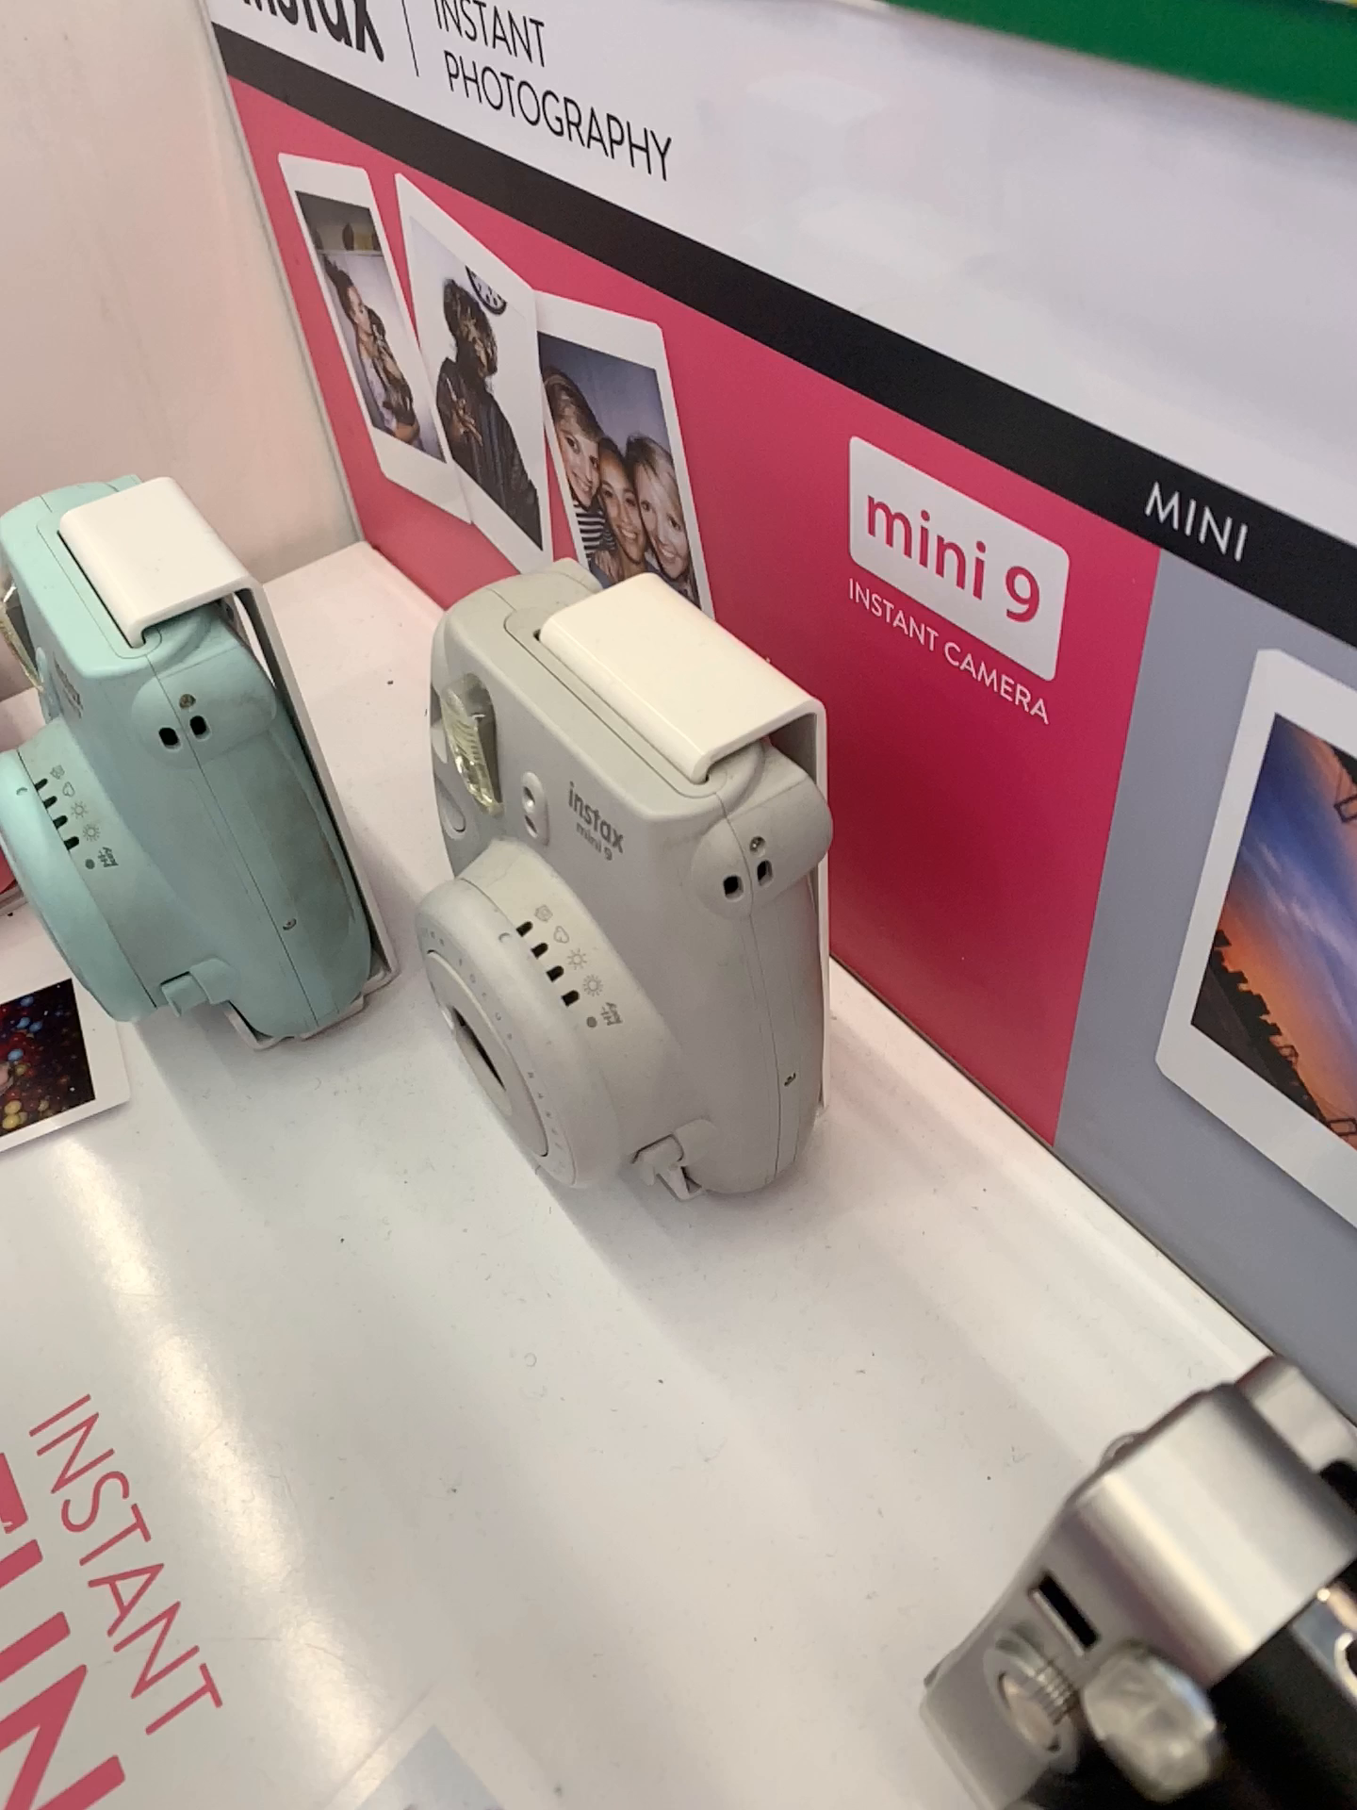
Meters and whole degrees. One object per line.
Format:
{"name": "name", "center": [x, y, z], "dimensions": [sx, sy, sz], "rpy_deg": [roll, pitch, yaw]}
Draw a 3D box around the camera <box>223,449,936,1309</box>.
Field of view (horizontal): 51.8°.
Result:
{"name": "camera", "center": [-0.018, -0.008, 0.283], "dimensions": [0.080, 0.109, 0.111], "rpy_deg": [-29, 50, -19]}
